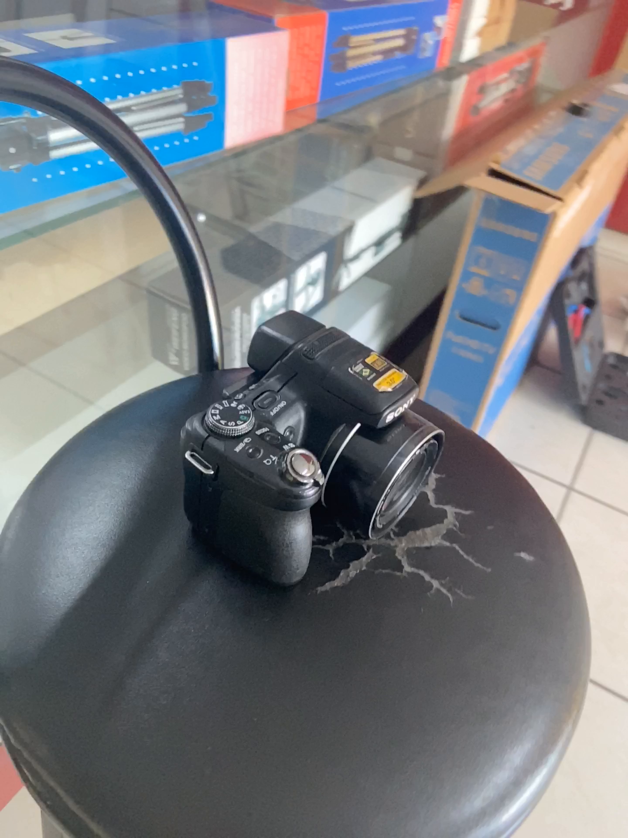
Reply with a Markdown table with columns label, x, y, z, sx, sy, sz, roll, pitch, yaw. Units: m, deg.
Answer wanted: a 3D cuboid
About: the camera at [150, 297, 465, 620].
| label | x | y | z | sx | sy | sz | roll | pitch | yaw |
| --- | --- | --- | --- | --- | --- | --- | --- | --- | --- |
| camera | -0.005 | 0.012 | 0.315 | 0.100 | 0.079 | 0.101 | 32 | 45 | 26 |
